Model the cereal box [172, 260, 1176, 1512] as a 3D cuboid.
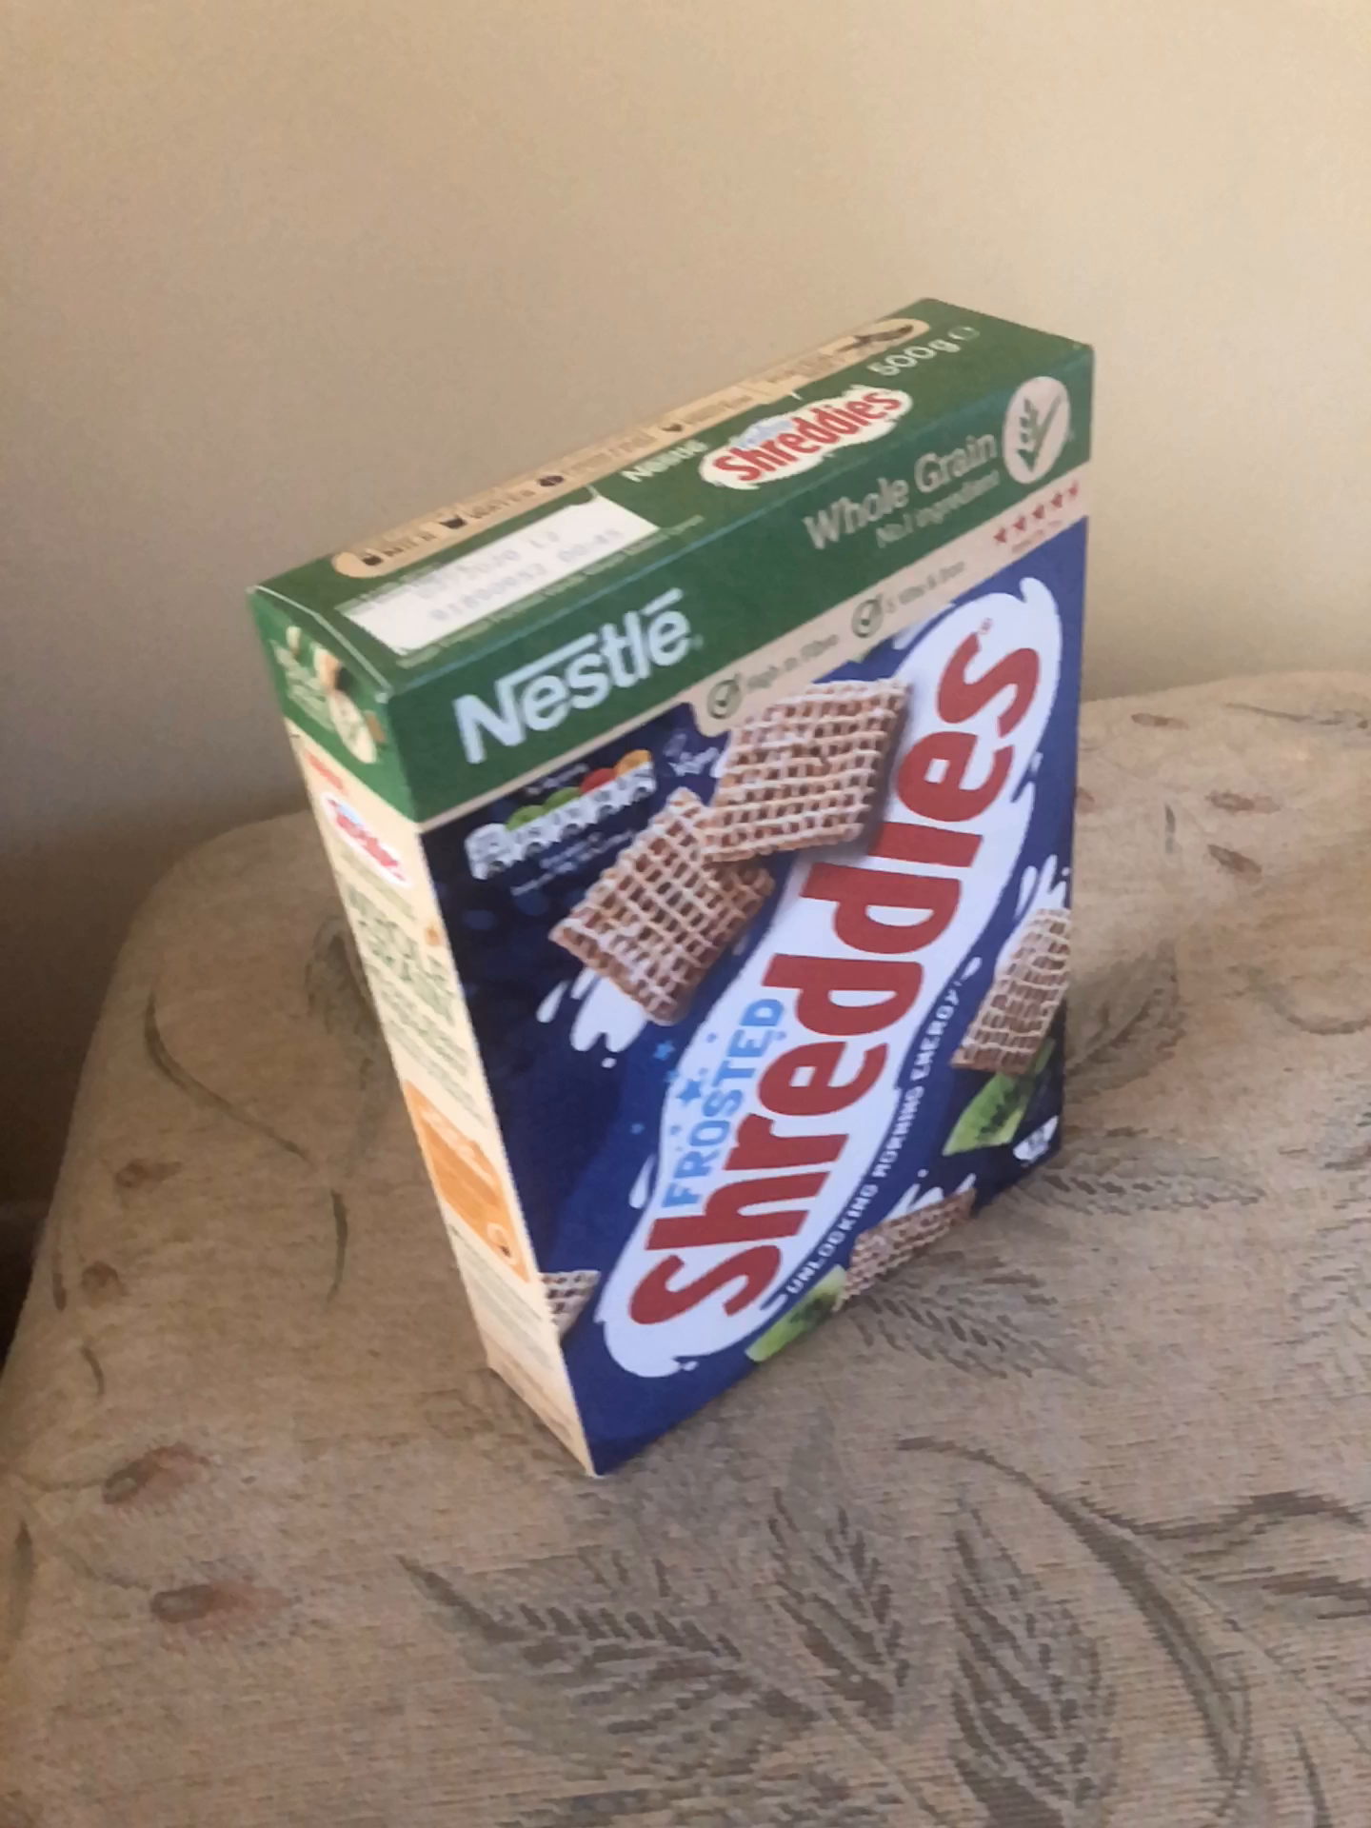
[{"bbox_3d":[0.018,0.004,0.382,0.200,0.258,0.060,-30,46,-23],"label":"cereal box"}]
